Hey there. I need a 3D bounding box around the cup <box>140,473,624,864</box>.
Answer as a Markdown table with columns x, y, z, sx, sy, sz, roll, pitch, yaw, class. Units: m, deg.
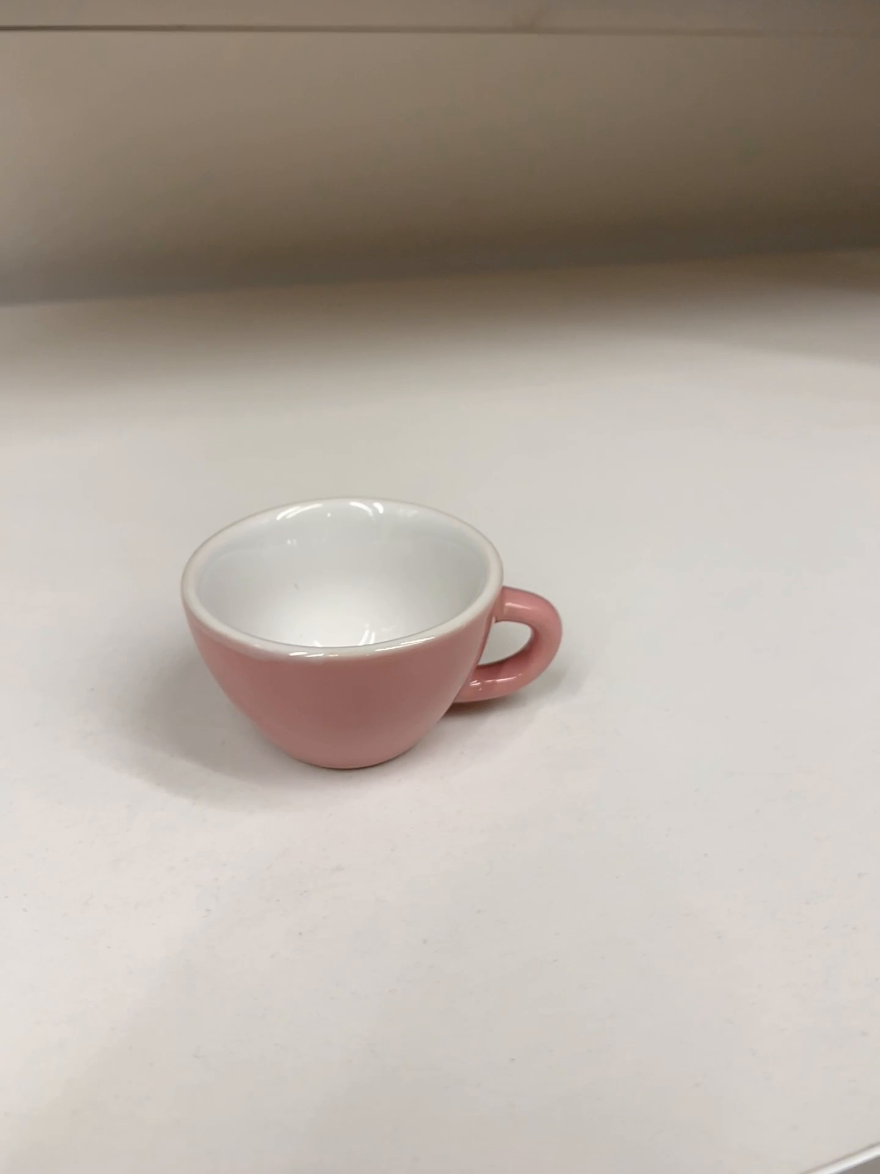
| x | y | z | sx | sy | sz | roll | pitch | yaw | class |
| --- | --- | --- | --- | --- | --- | --- | --- | --- | --- |
| -0.011 | 0.011 | 0.159 | 0.070 | 0.040 | 0.040 | -9 | 32 | -15 | cup |
